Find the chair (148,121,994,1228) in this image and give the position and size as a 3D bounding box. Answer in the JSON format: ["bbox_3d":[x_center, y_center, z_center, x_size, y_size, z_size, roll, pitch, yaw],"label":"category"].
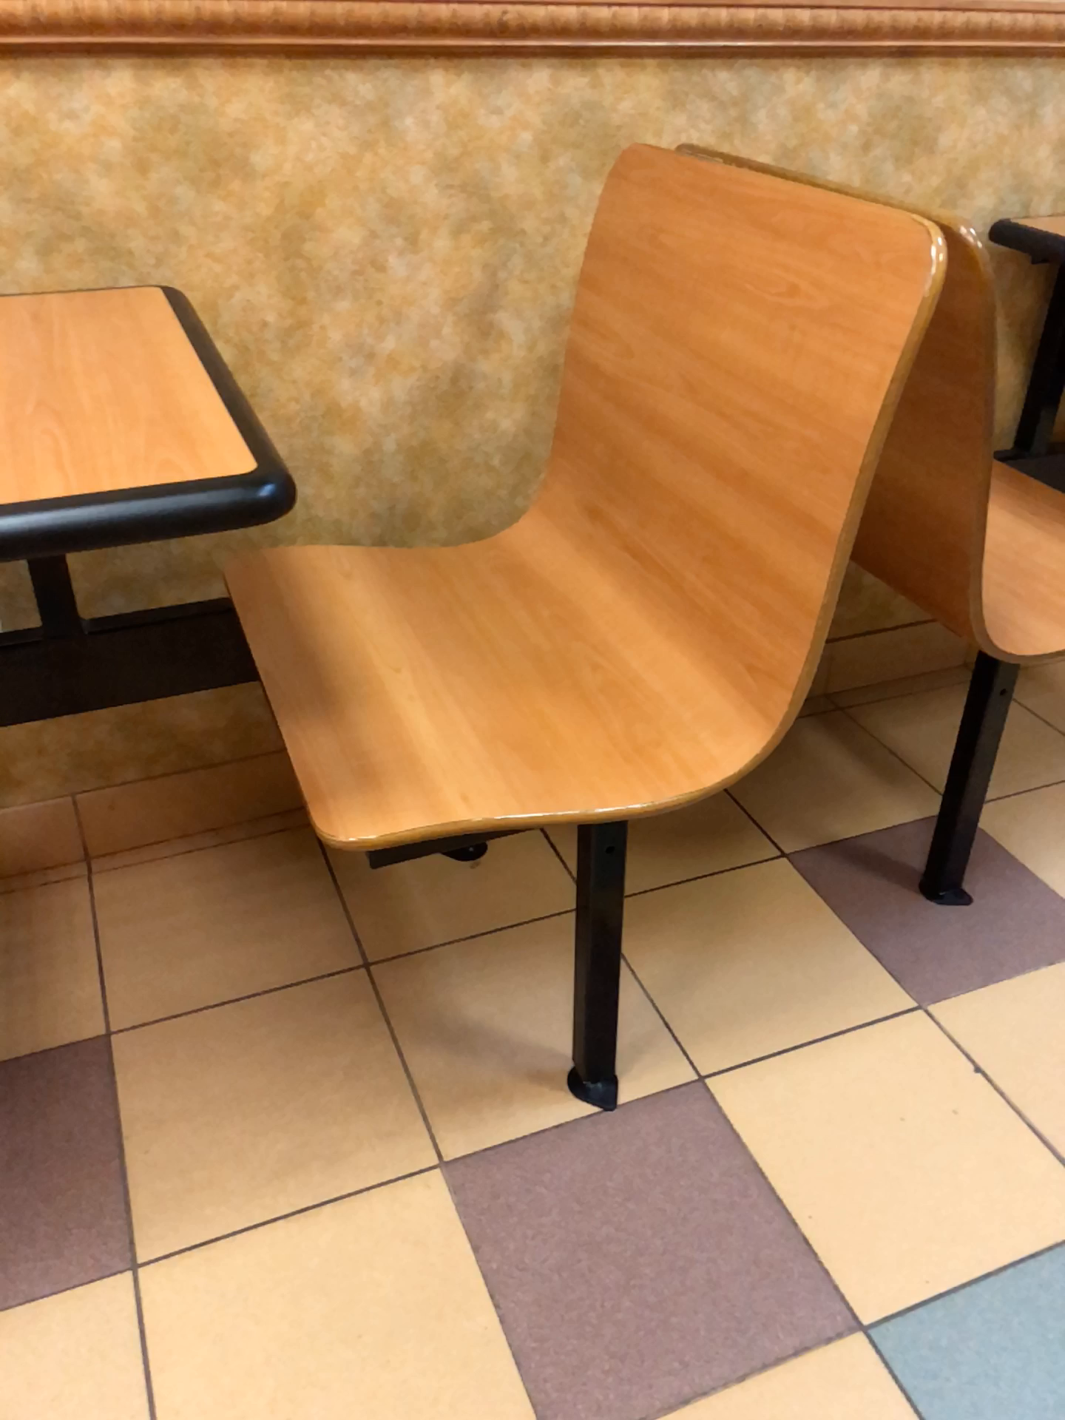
[{"bbox_3d":[-0.040,-0.086,1.207,0.510,0.885,0.633,-10,33,-18],"label":"chair"}]
